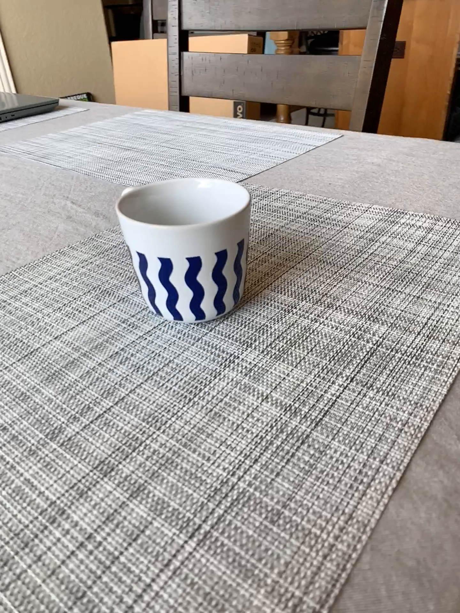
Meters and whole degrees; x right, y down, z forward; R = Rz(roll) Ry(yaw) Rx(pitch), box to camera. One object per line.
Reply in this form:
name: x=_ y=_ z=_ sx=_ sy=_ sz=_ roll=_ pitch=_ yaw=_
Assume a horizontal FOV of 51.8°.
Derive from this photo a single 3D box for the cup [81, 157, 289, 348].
cup: x=-0.031 y=-0.044 z=0.319 sx=0.086 sy=0.072 sz=0.113 roll=-24 pitch=38 yaw=-28
